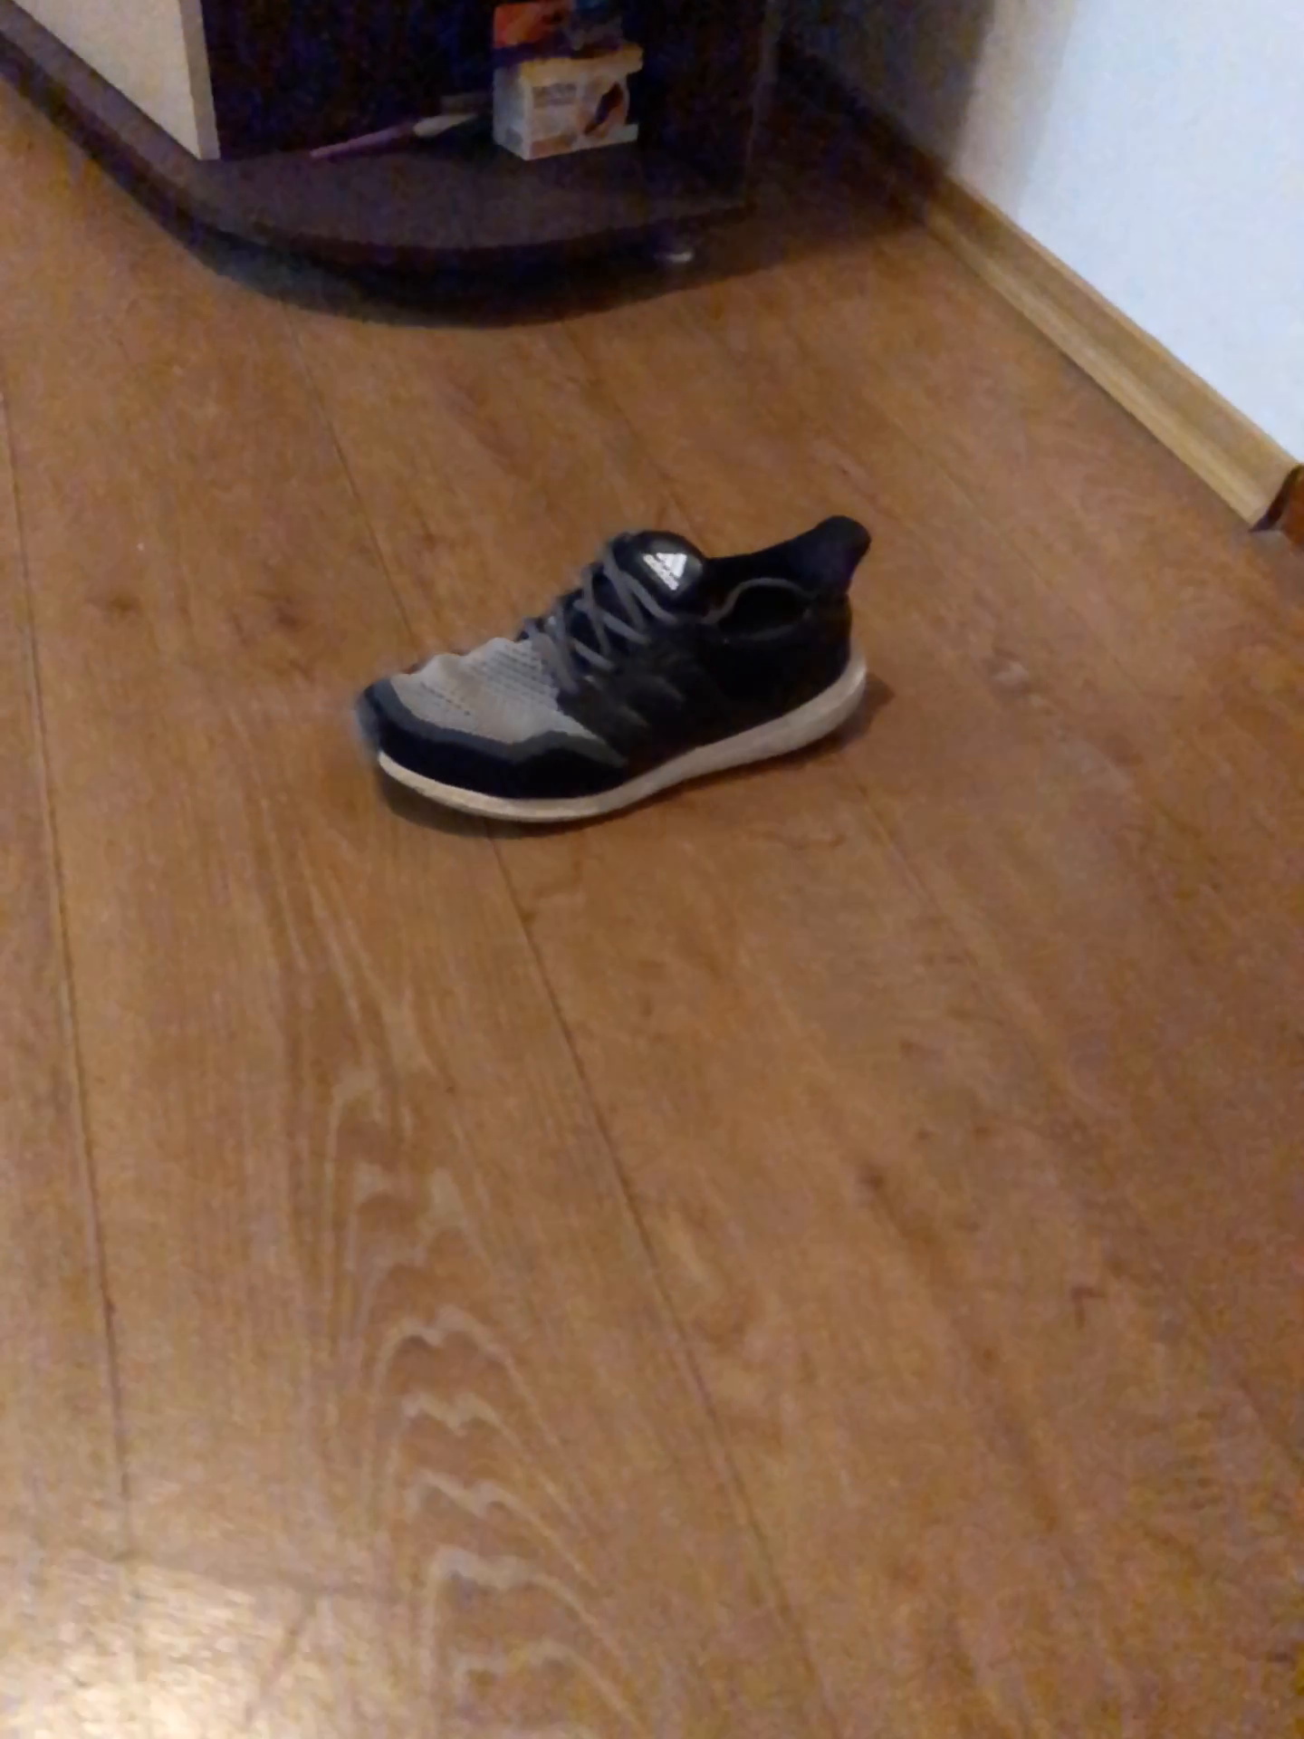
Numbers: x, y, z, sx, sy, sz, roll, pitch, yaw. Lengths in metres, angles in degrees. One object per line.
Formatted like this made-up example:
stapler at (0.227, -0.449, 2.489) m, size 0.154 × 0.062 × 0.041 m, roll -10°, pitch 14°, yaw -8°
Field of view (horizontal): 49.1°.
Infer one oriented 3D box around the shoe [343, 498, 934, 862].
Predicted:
shoe at (-0.010, -0.103, 0.740) m, size 0.270 × 0.099 × 0.114 m, roll -11°, pitch 49°, yaw -17°
